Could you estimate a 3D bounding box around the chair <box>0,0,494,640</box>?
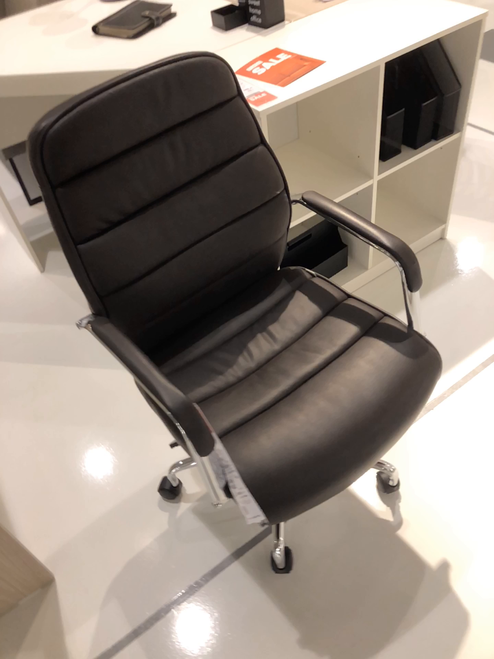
[{"bbox_3d":[0.037,-0.002,1.072,0.651,0.974,0.573,-34,51,-22],"label":"chair"}]
